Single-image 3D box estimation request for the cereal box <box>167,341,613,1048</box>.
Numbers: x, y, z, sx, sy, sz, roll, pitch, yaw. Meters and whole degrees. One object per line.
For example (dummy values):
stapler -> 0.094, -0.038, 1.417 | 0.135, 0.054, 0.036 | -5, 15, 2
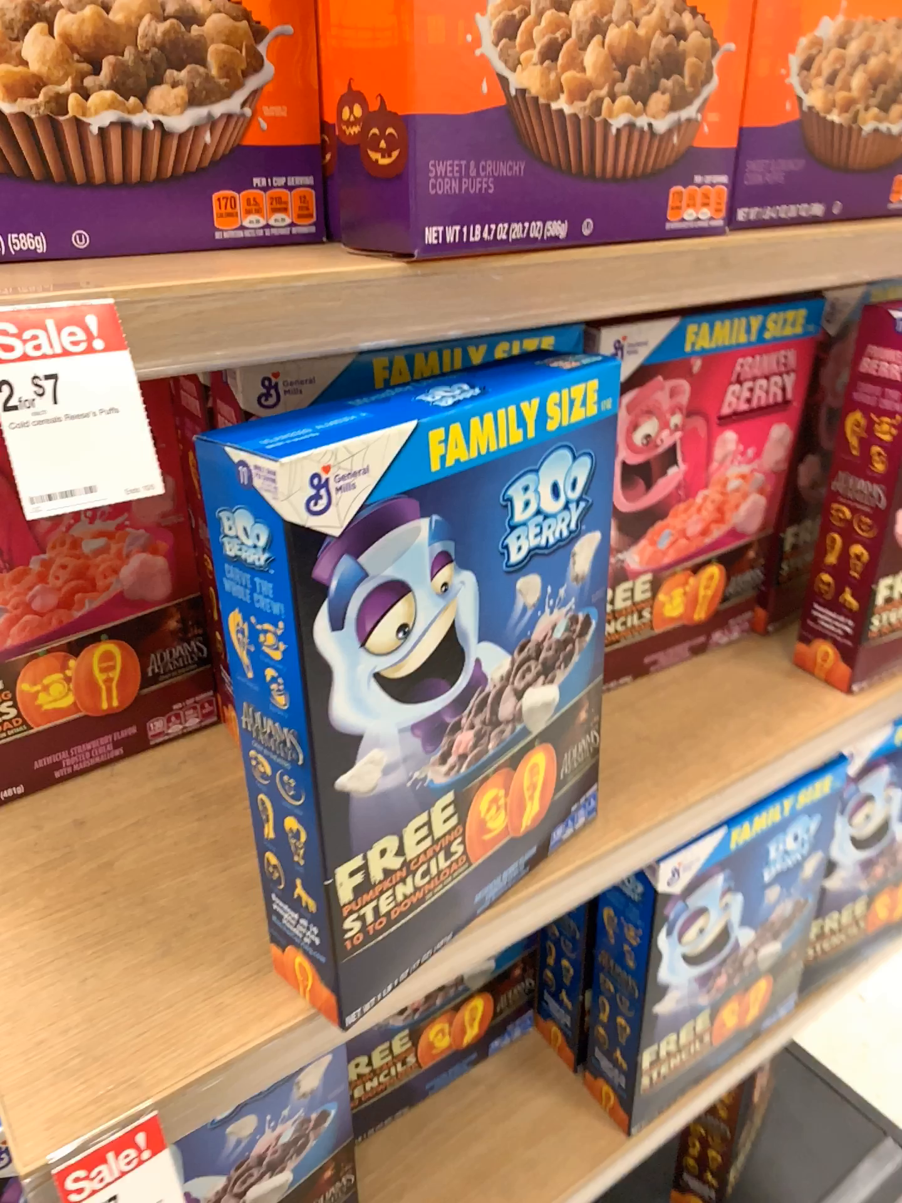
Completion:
cereal box -> -0.010, 0.037, 0.506 | 0.060, 0.309, 0.241 | 19, 32, 37
